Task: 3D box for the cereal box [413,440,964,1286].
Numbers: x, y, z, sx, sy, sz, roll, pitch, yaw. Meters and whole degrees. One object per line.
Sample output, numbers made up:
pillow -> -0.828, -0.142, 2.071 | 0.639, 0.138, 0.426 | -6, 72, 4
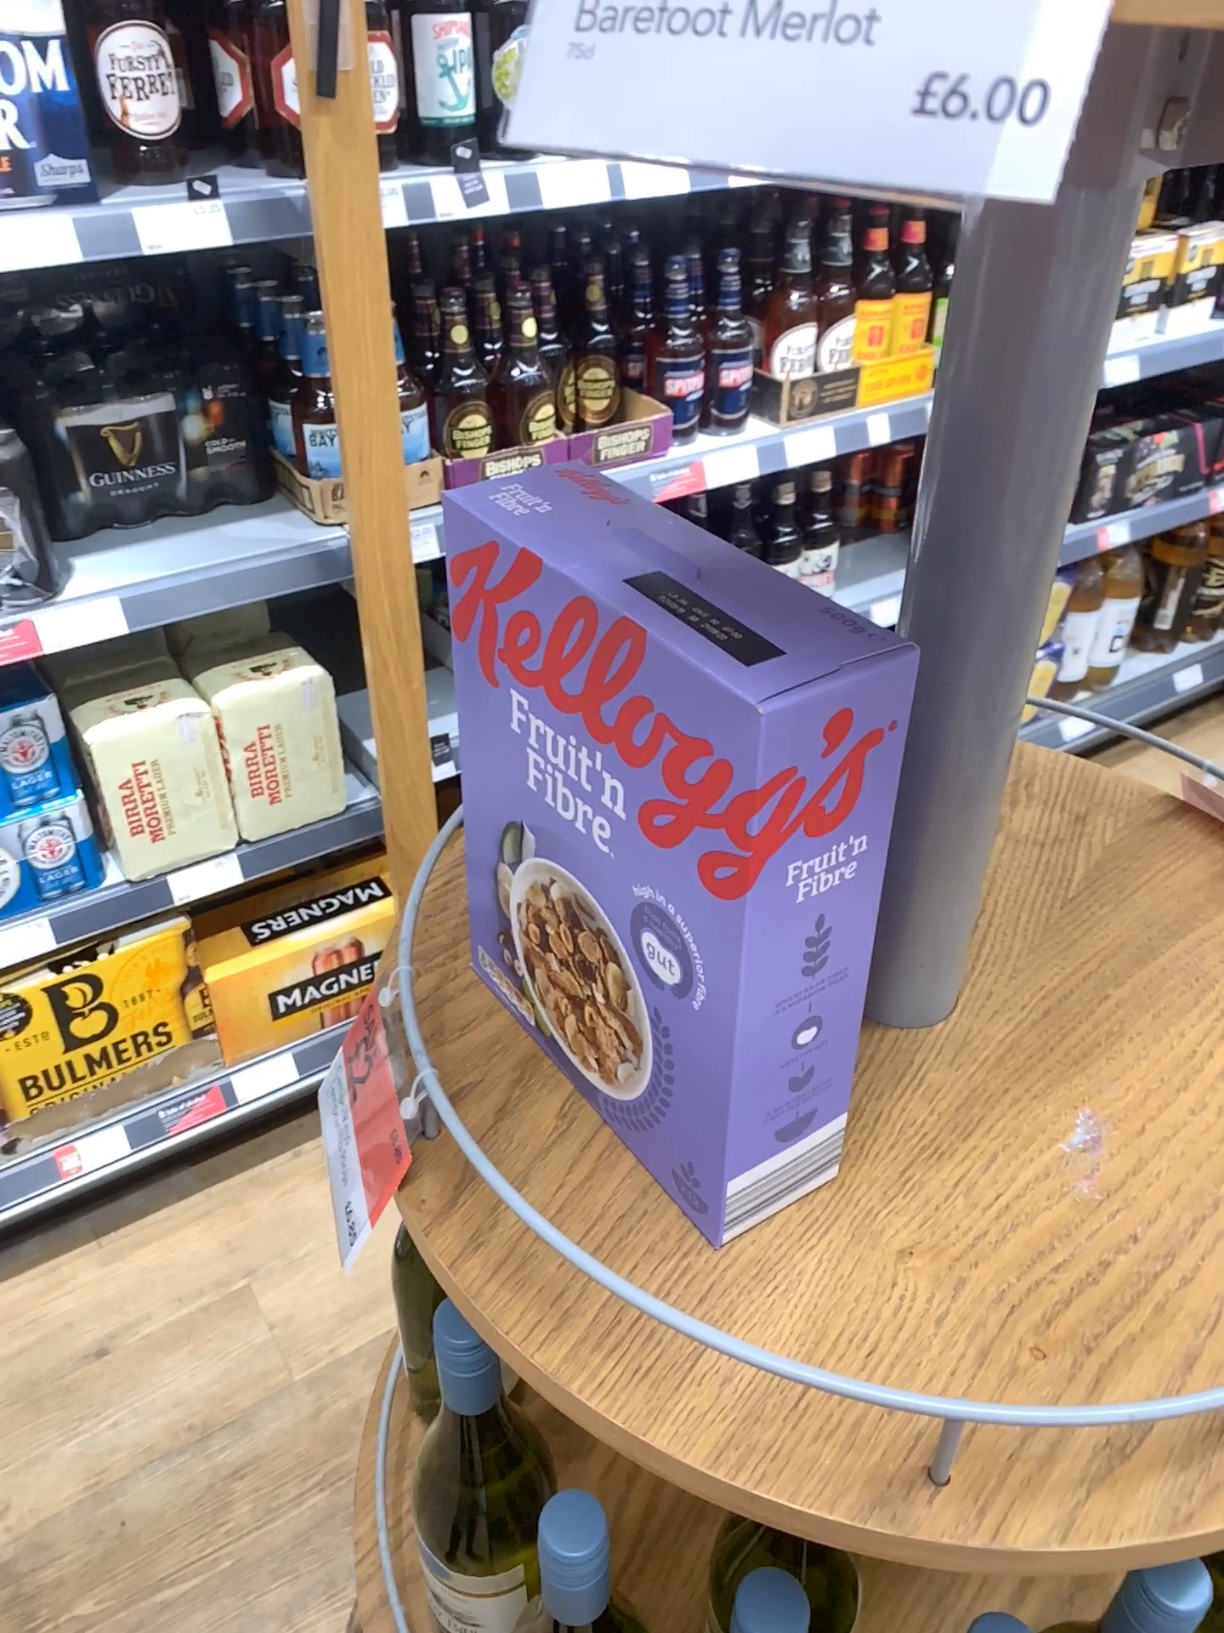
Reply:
cereal box -> 0.011, 0.012, 0.470 | 0.070, 0.238, 0.201 | -20, 41, -28
